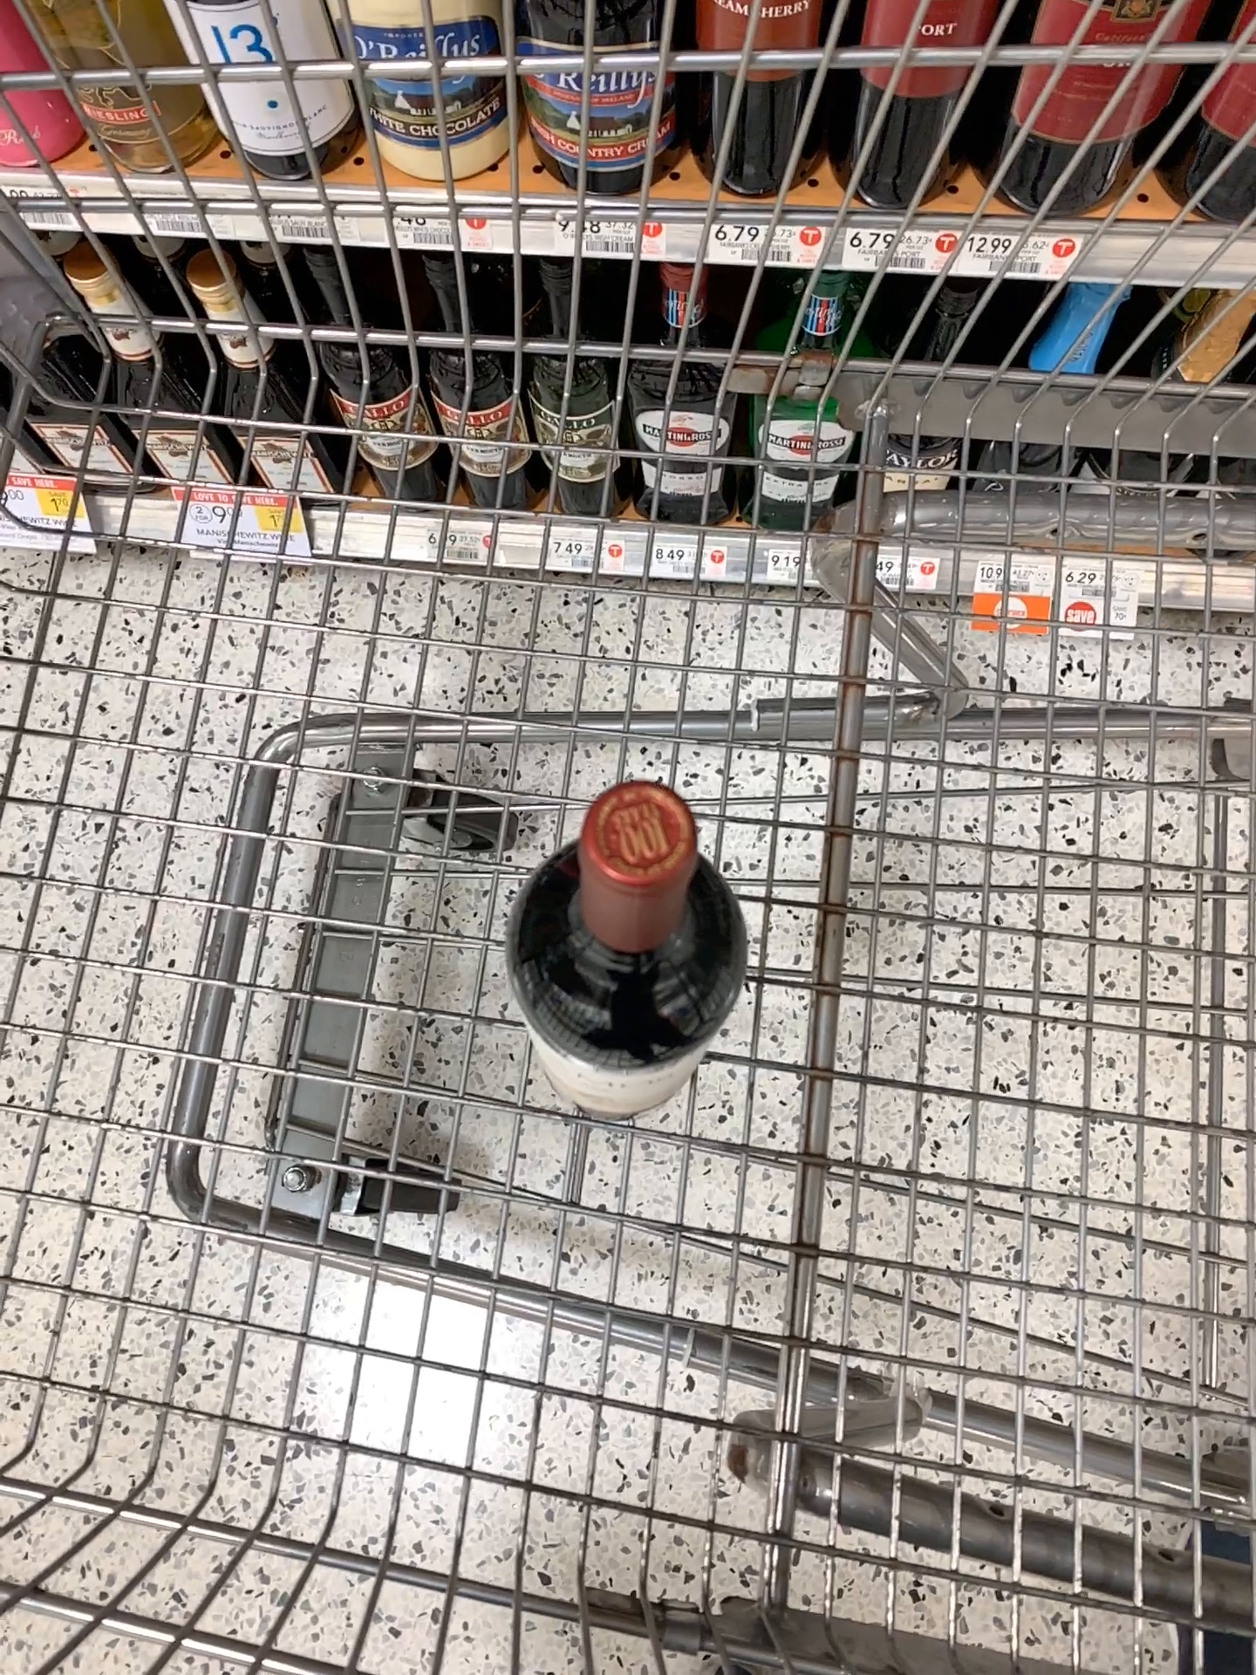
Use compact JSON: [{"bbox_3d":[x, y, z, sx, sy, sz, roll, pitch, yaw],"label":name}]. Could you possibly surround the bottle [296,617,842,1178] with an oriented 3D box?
[{"bbox_3d":[-0.010,0.047,0.419,0.090,0.299,0.080,27,75,9],"label":"bottle"}]
